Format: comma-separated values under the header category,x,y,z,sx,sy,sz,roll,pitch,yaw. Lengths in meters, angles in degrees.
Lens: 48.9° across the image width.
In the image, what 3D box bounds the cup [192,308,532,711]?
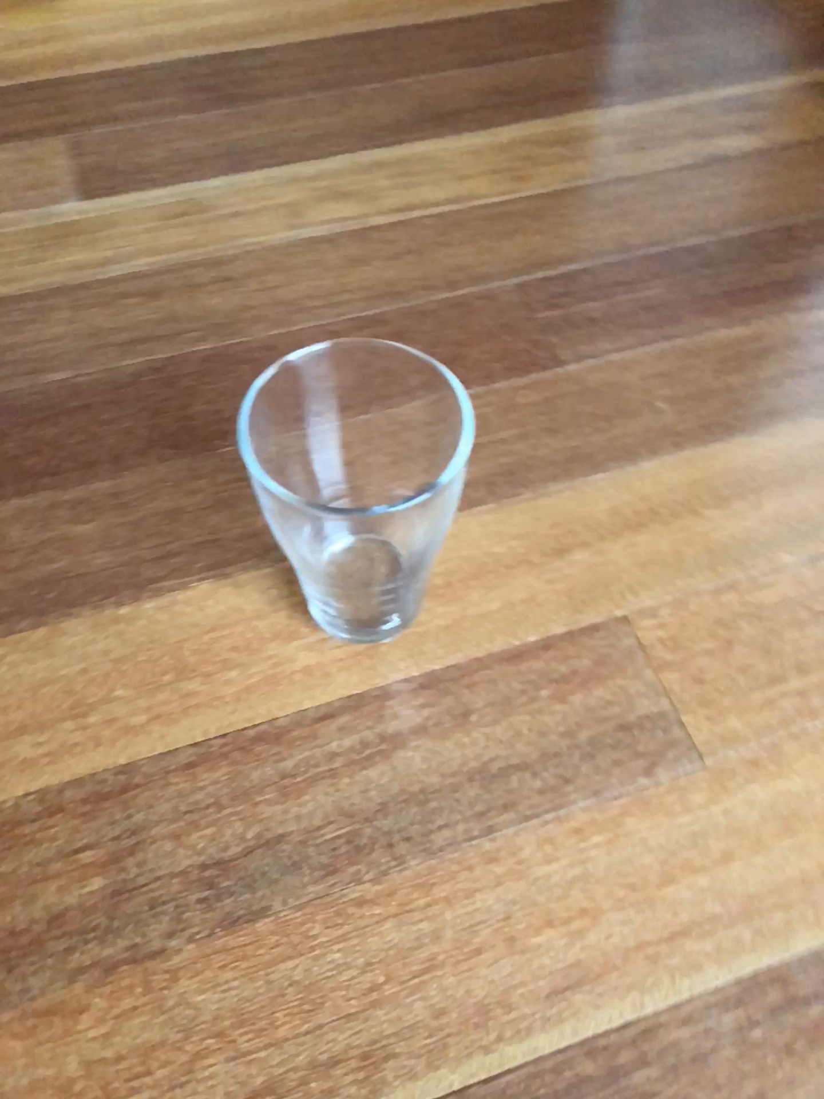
category,x,y,z,sx,sy,sz,roll,pitch,yaw
cup,-0.021,-0.014,0.365,0.090,0.109,0.090,1,56,-1
